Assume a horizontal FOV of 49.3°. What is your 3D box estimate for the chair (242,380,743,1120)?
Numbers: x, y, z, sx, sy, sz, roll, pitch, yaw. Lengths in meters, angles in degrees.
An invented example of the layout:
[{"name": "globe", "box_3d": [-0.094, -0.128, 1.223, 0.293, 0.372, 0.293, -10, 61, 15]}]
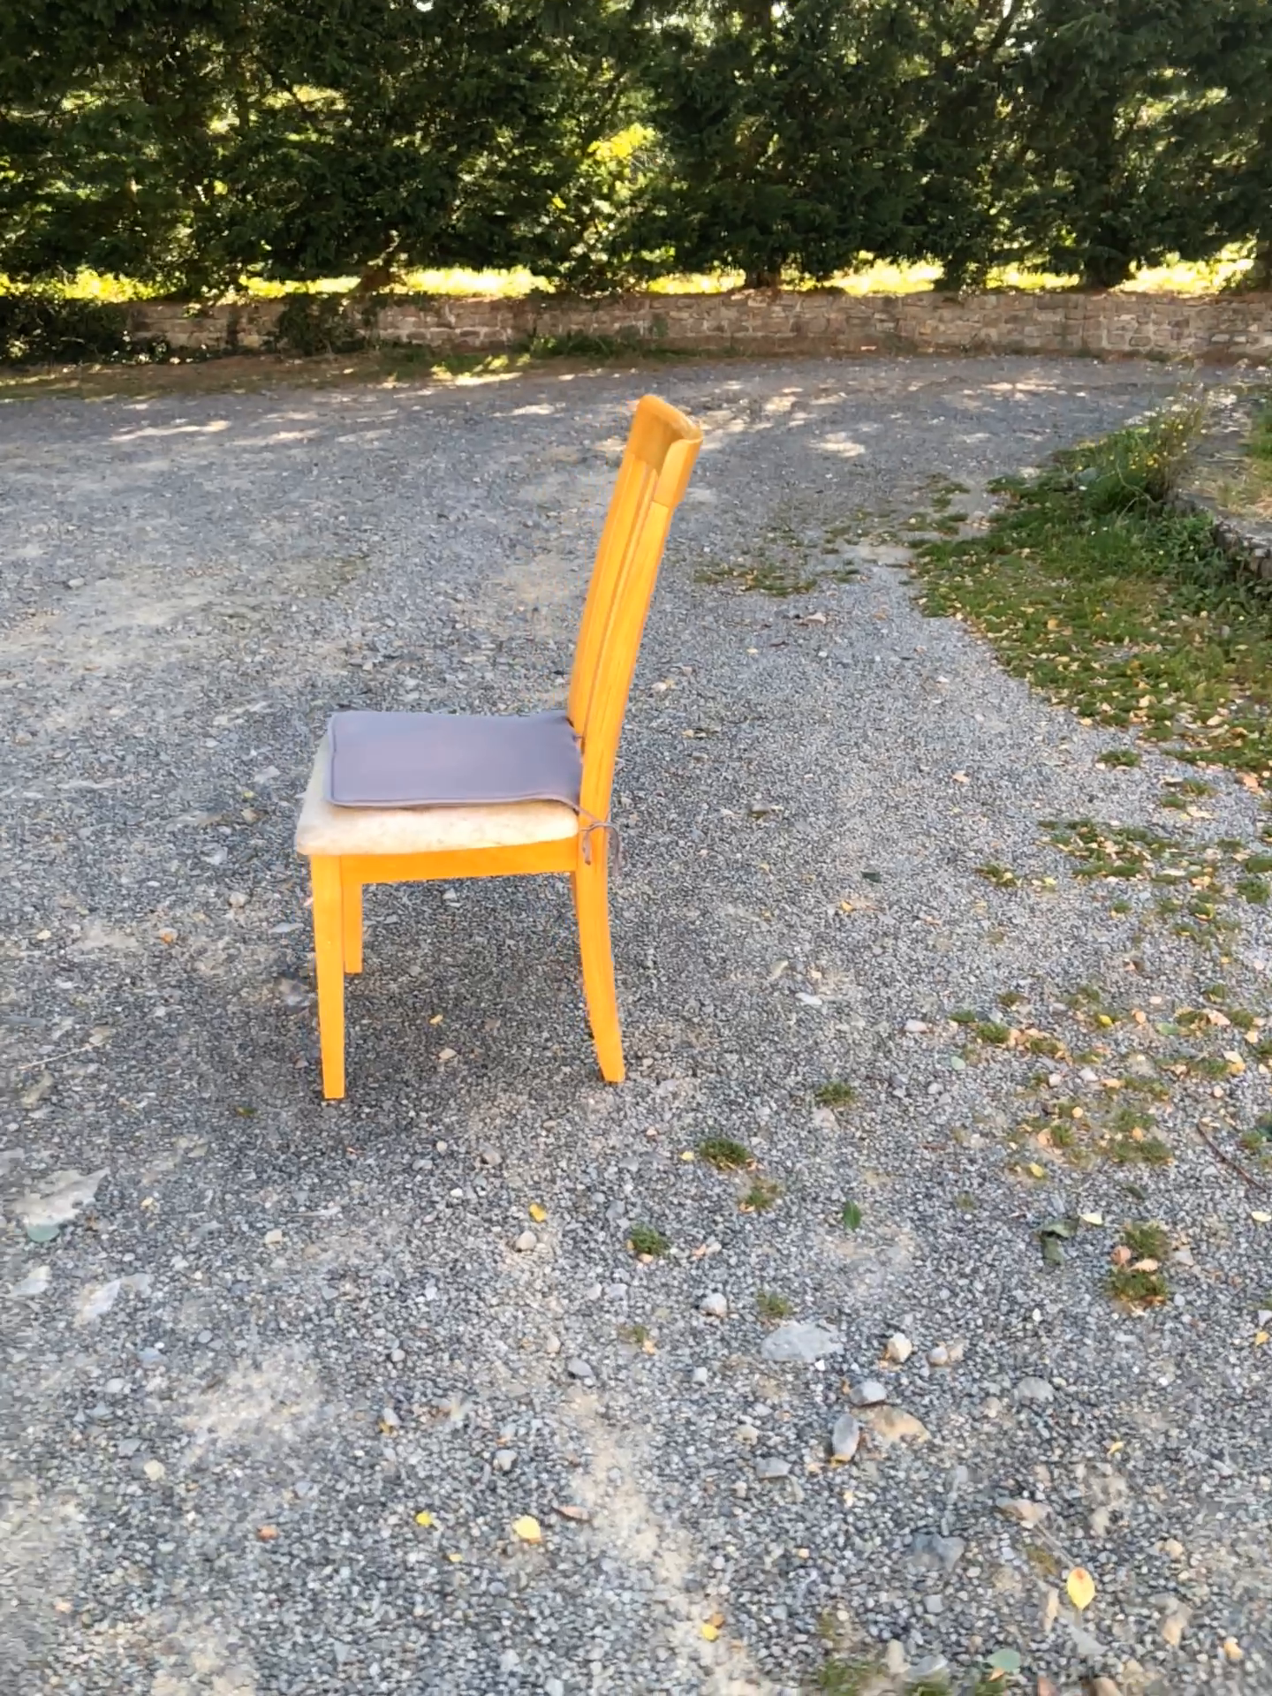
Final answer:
[{"name": "chair", "box_3d": [-0.210, -0.162, 2.145, 0.610, 0.994, 0.513, -3, 27, -7]}]
